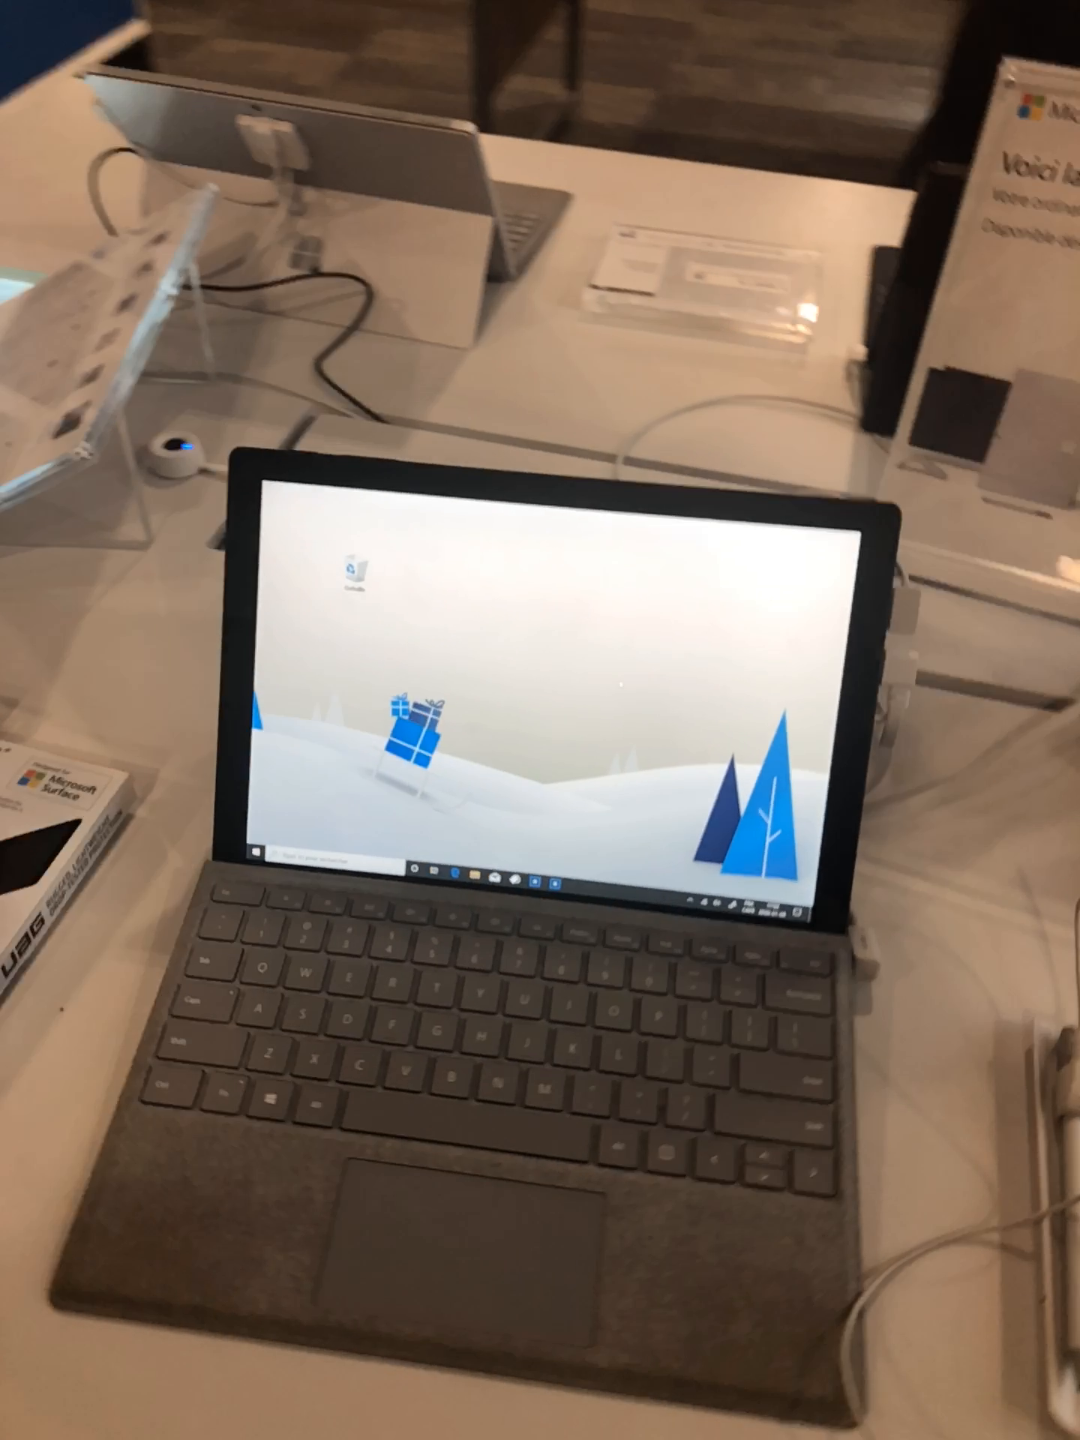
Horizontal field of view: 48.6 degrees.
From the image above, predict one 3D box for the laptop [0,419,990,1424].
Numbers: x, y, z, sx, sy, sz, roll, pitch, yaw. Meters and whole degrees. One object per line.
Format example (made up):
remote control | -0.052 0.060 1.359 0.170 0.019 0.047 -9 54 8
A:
laptop | -0.011 0.056 0.465 0.285 0.150 0.309 6 49 3
